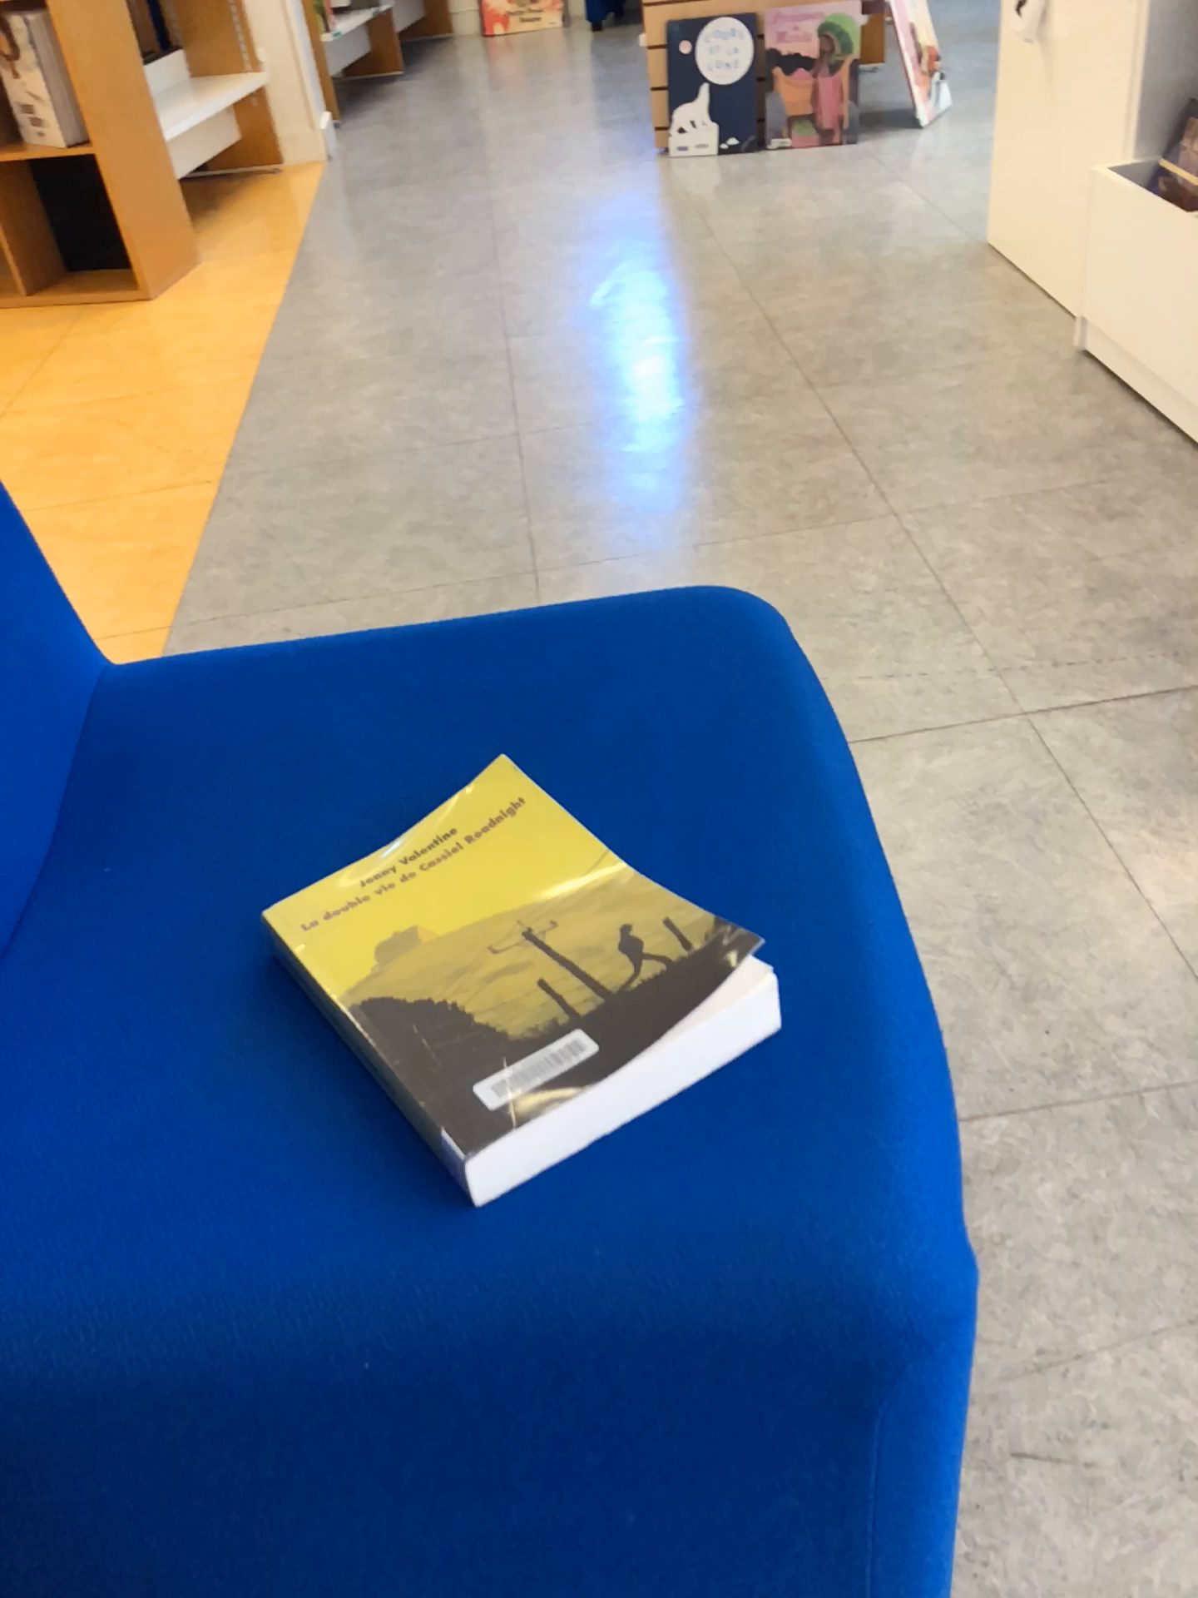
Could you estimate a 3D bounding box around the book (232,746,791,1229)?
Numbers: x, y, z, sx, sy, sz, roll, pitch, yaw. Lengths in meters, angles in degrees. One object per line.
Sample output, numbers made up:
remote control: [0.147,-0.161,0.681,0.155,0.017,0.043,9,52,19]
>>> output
book: [-0.046,0.062,0.557,0.145,0.040,0.215,-27,36,-23]
